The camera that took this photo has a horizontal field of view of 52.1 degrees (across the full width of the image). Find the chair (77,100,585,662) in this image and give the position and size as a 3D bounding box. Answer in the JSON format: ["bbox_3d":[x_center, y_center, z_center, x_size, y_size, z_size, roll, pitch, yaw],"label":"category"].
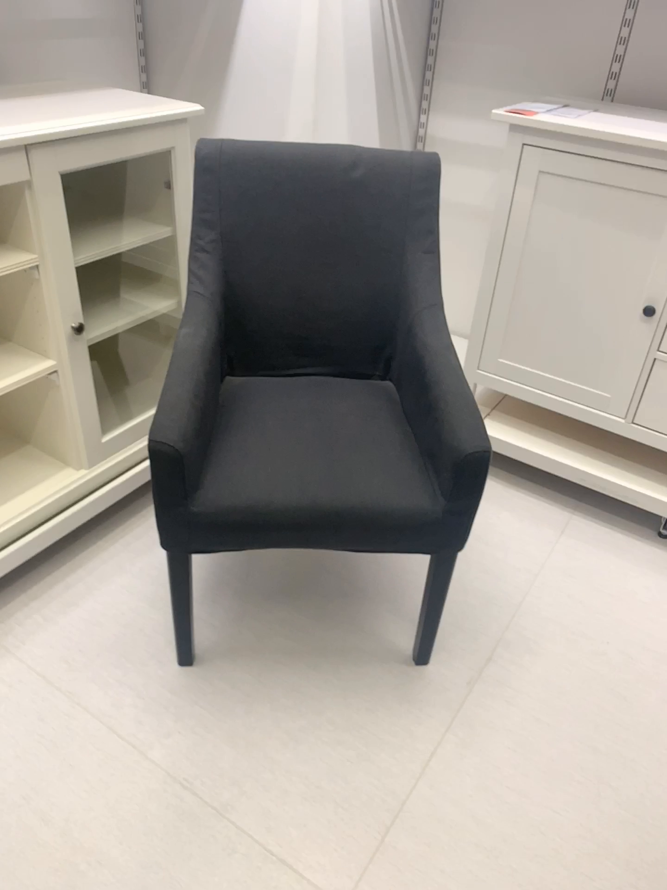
[{"bbox_3d":[-0.039,-0.115,1.402,0.660,0.946,0.612,1,35,-4],"label":"chair"}]
